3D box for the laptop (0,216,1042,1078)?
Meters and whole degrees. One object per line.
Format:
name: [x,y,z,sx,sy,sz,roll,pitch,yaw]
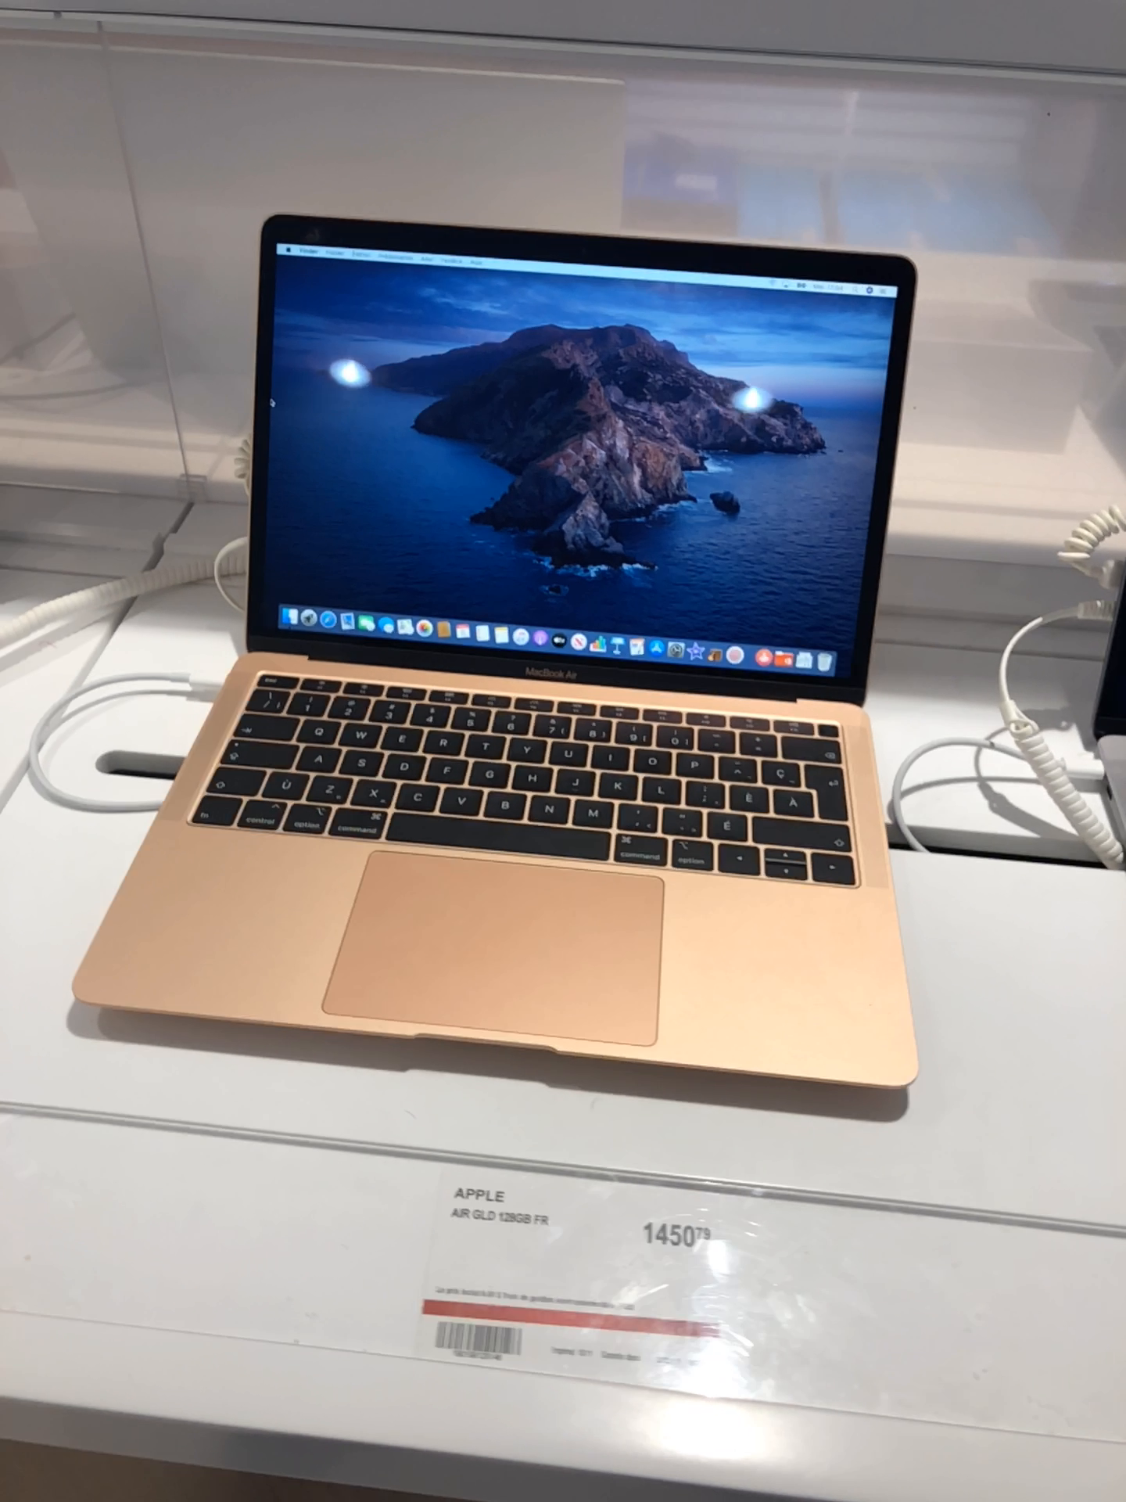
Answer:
laptop: [-0.009,-0.064,0.498,0.291,0.170,0.305,5,42,3]
